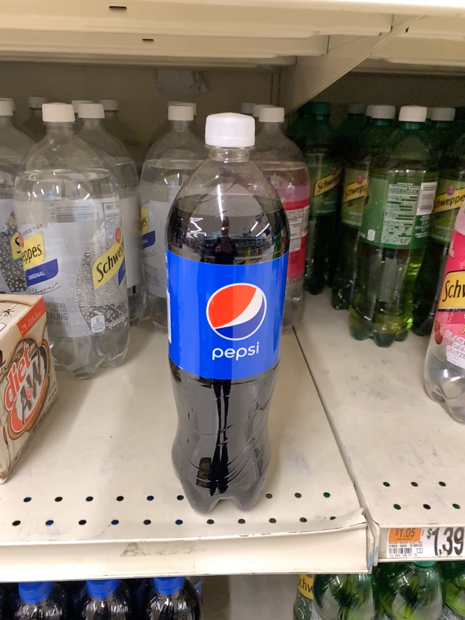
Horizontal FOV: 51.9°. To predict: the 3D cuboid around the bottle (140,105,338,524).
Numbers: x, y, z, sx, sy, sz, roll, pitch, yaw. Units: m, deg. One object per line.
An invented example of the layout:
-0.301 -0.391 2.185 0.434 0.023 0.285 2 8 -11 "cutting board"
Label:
-0.004 0.008 0.338 0.101 0.279 0.090 -1 24 -6 "bottle"
